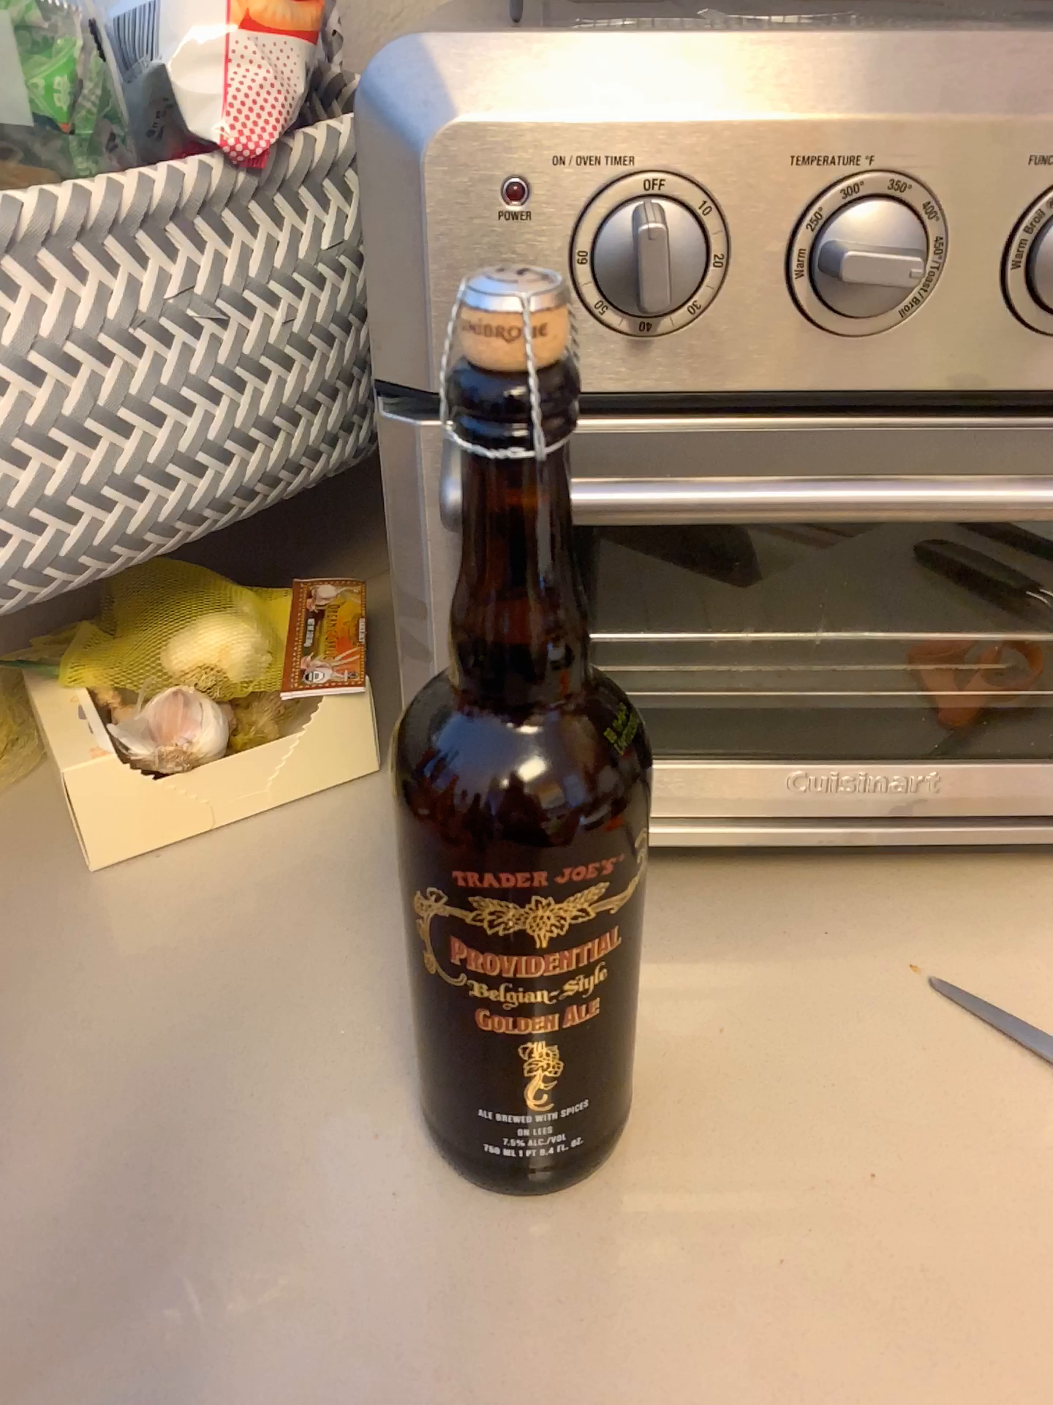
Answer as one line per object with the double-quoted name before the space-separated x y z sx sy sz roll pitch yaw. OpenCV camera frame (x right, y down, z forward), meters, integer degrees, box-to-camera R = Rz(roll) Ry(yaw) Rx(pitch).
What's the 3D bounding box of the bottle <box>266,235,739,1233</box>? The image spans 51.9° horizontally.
"bottle" -0.007 0.031 0.321 0.090 0.298 0.081 -4 34 -5
